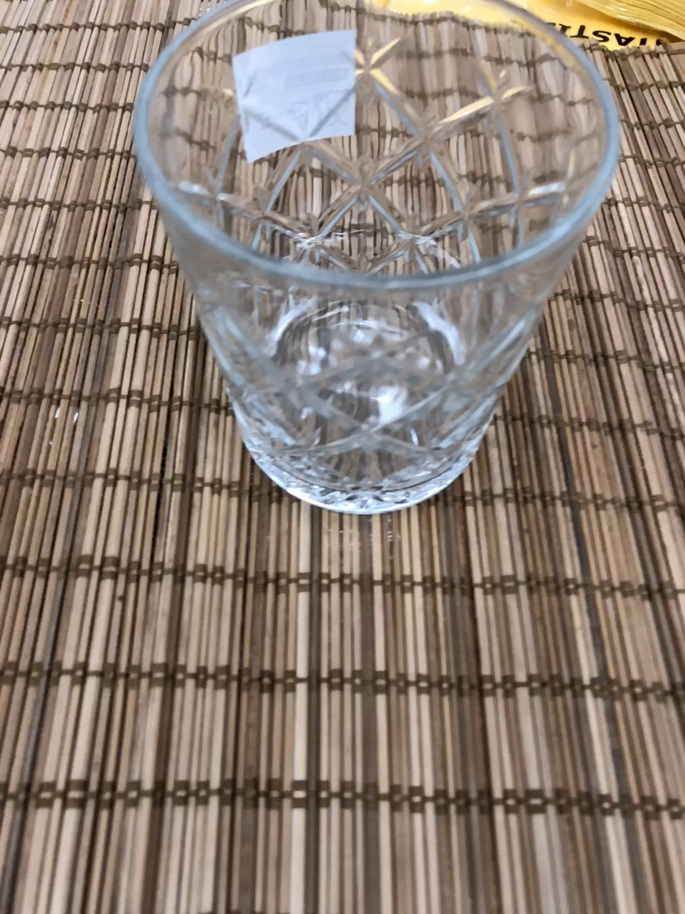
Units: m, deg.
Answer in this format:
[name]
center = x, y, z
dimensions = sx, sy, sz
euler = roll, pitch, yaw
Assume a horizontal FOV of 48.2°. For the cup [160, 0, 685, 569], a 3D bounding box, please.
[cup]
center = 0.010, -0.037, 0.154
dimensions = 0.080, 0.090, 0.080
euler = 2, 57, -3
